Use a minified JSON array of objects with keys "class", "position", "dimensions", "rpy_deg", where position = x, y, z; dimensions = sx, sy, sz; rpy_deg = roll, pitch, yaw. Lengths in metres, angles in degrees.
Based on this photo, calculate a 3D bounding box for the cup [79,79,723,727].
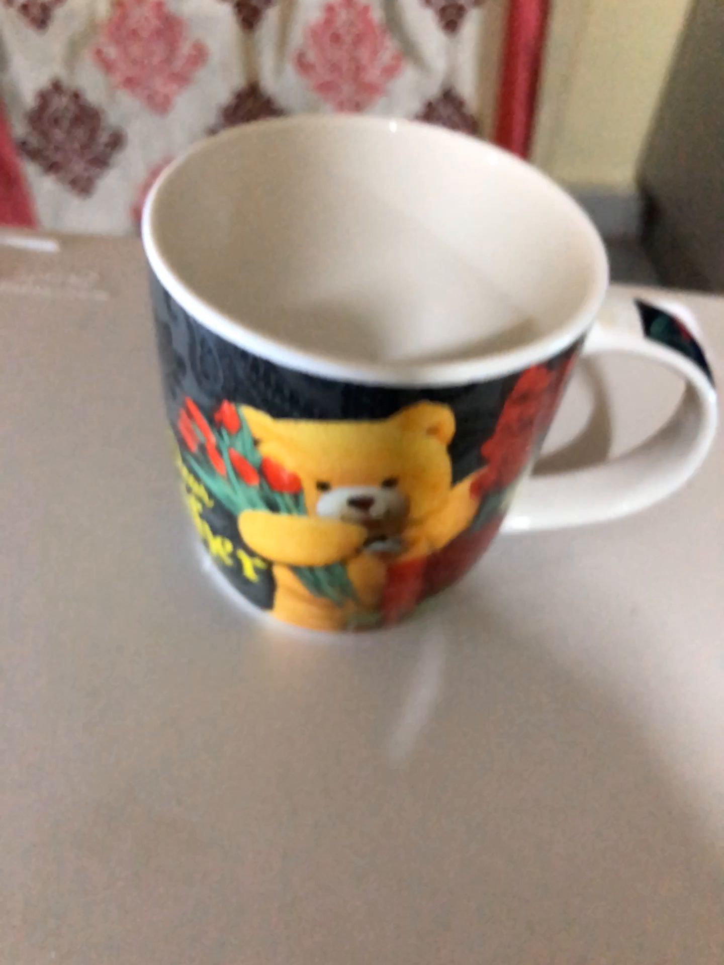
[{"class":"cup","position":[0.023,-0.014,0.182],"dimensions":[0.130,0.099,0.080],"rpy_deg":[6,46,0]}]
